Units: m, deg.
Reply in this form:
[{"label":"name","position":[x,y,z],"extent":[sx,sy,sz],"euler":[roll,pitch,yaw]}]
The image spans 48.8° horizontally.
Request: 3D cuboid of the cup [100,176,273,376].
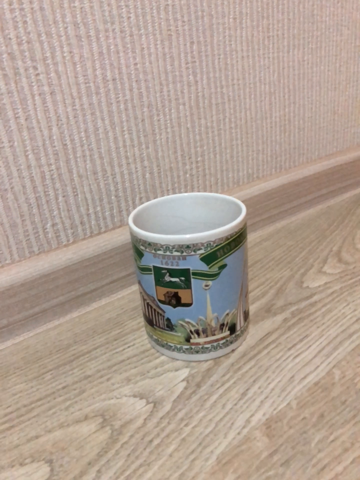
[{"label":"cup","position":[0.017,0.015,0.302],"extent":[0.082,0.096,0.122],"euler":[4,26,24]}]
